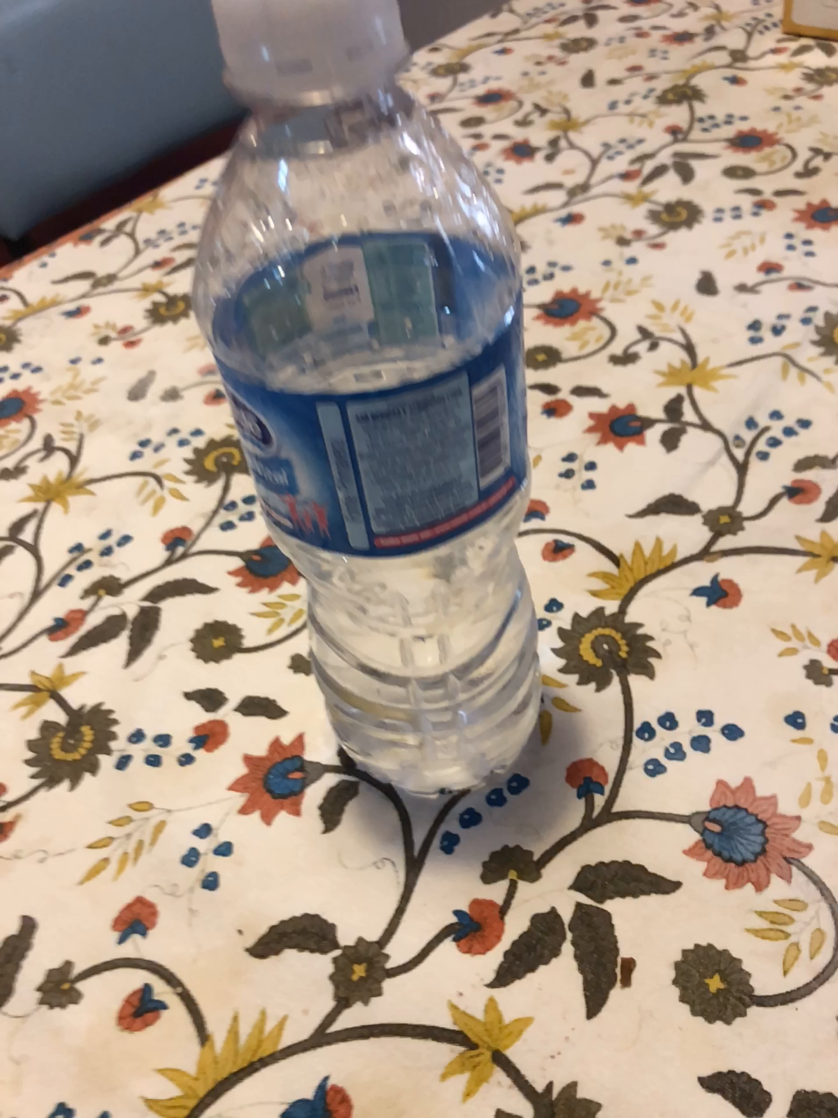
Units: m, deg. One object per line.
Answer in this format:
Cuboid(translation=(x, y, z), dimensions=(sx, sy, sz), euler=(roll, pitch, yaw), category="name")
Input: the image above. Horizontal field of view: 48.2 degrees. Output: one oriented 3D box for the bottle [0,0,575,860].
Cuboid(translation=(-0.012, -0.017, 0.197), dimensions=(0.070, 0.189, 0.060), euler=(-14, 45, -3), category="bottle")
